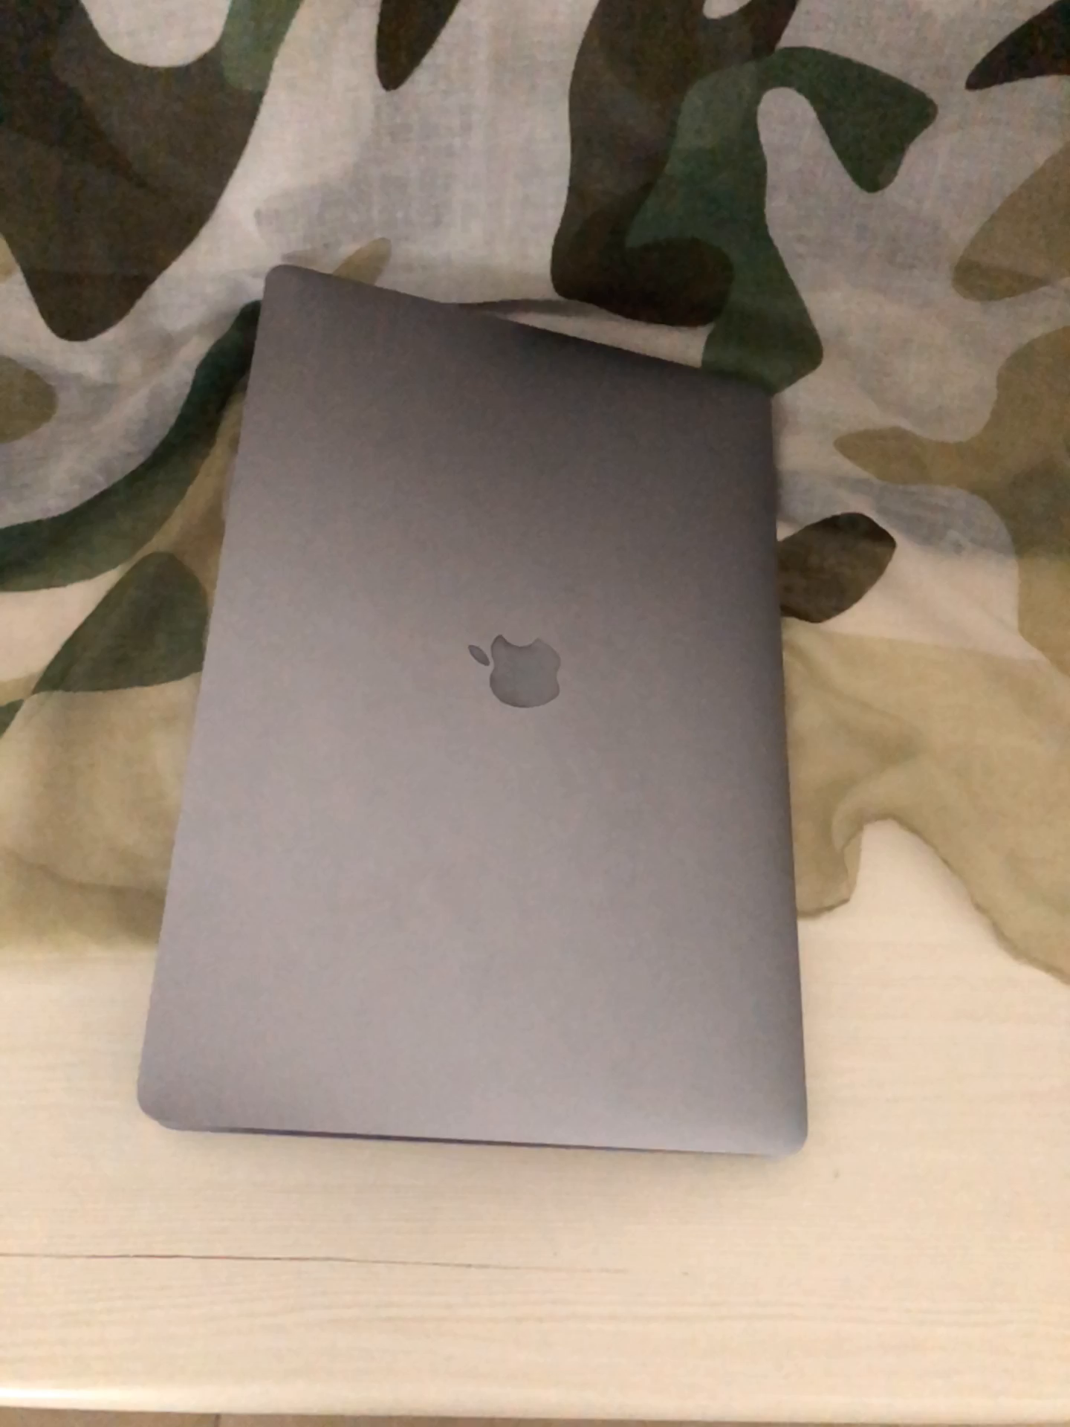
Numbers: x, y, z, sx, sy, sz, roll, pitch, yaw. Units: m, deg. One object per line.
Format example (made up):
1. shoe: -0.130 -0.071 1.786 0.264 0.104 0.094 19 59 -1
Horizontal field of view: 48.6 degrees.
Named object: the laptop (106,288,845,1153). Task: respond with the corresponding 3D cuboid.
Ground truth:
1. laptop: -0.011 -0.011 0.475 0.236 0.058 0.339 4 66 -3
